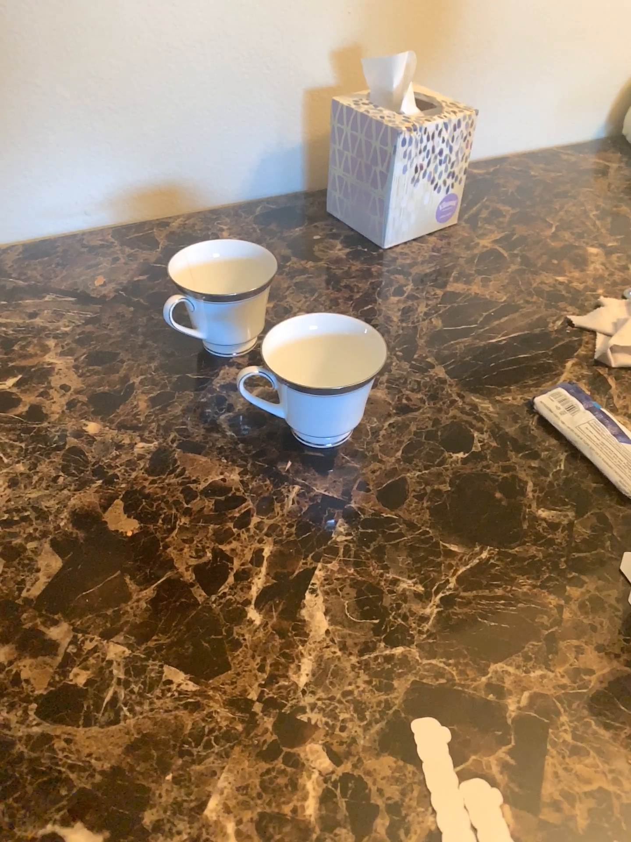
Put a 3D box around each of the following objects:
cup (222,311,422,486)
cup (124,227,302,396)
[{"bbox_3d":[0.001,-0.019,0.467,0.120,0.070,0.091,-8,44,-10],"label":"cup"},{"bbox_3d":[-0.079,-0.094,0.533,0.090,0.070,0.110,23,47,22],"label":"cup"}]
